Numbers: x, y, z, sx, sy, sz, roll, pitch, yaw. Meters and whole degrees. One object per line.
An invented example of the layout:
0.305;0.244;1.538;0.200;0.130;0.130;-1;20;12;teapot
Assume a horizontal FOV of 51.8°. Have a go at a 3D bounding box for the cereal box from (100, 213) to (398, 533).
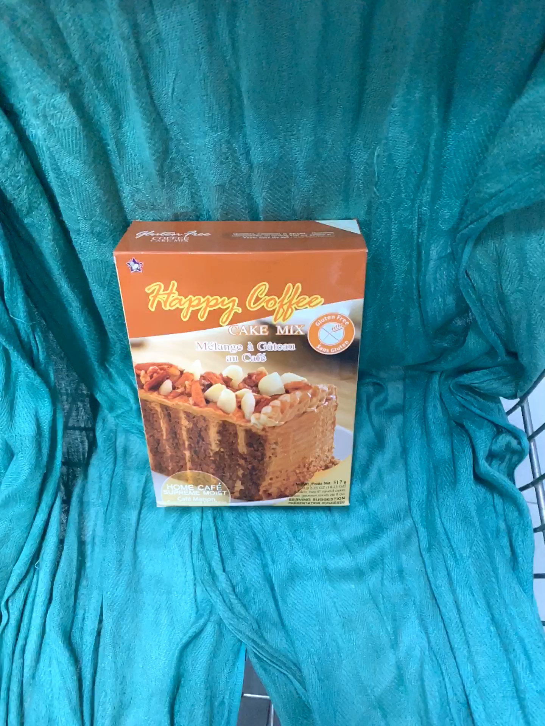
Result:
-0.011;0.016;0.358;0.150;0.210;0.050;0;32;0;cereal box
